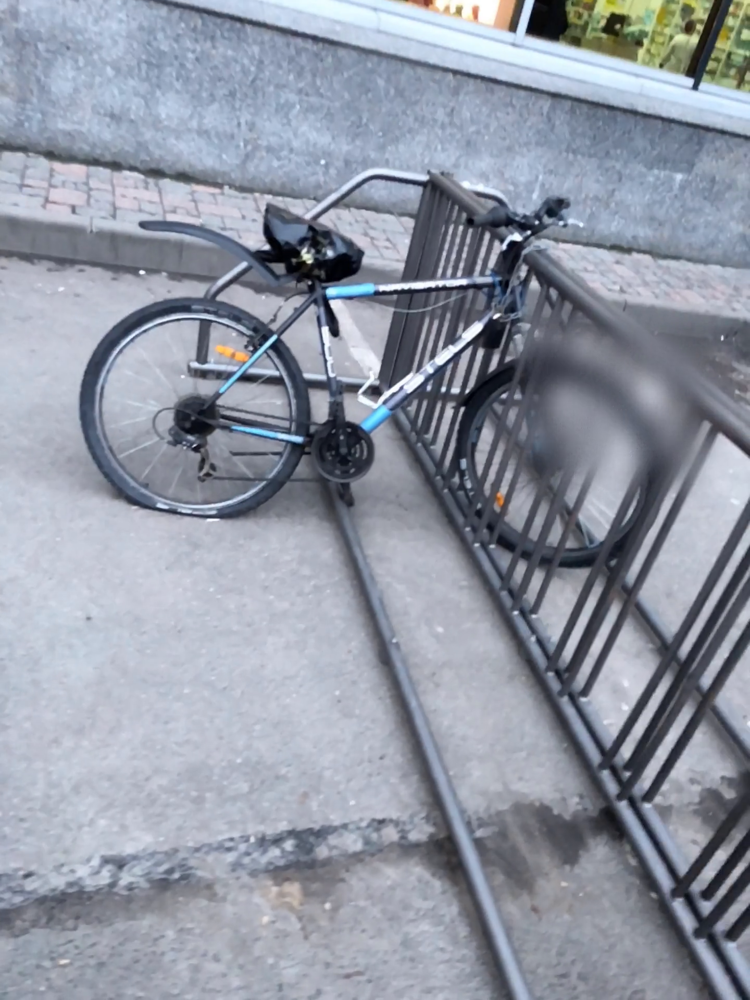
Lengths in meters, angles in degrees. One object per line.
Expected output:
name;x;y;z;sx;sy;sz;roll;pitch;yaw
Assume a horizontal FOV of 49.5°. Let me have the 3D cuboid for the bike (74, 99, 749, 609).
bike;0.028;-0.407;2.303;1.584;1.050;0.538;11;31;0
